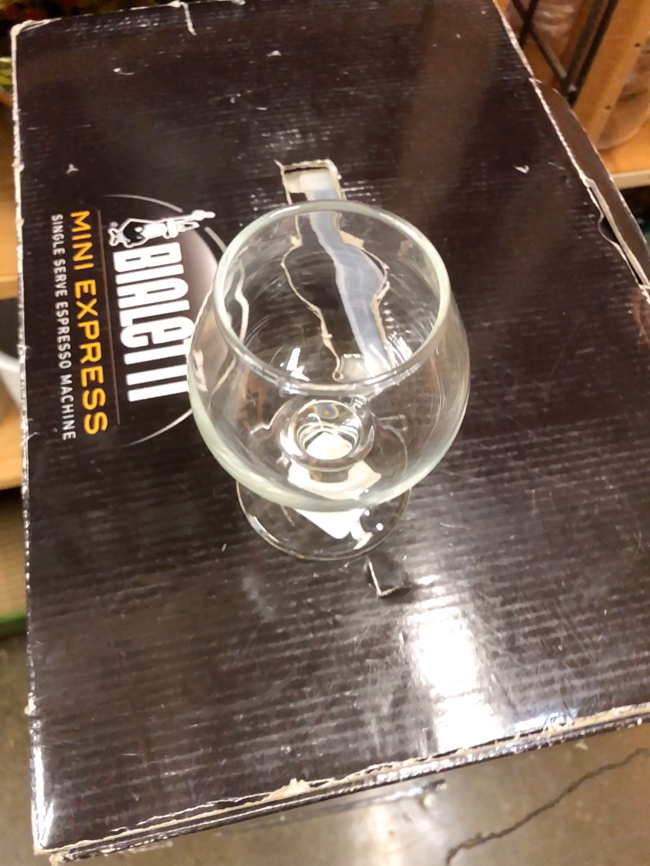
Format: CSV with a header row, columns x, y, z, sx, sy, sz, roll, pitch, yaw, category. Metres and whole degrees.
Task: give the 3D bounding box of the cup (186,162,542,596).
x,y,z,sx,sy,sz,roll,pitch,yaw,category
0.001,-0.007,0.203,0.069,0.106,0.072,2,61,-4,cup
